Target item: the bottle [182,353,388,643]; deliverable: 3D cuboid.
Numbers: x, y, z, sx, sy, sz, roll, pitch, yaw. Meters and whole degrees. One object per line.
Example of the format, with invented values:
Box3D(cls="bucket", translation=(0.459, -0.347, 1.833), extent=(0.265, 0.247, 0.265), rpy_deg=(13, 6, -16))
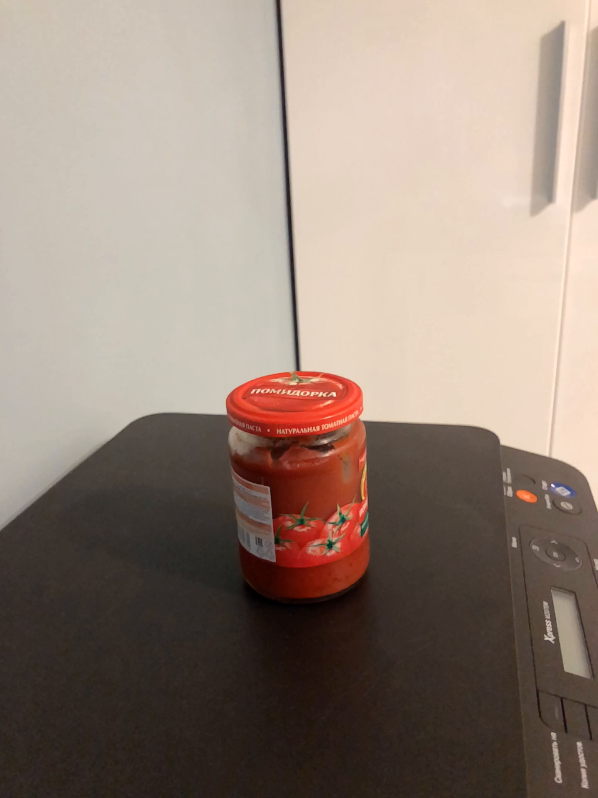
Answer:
Box3D(cls="bottle", translation=(-0.001, 0.044, 0.335), extent=(0.070, 0.109, 0.080), rpy_deg=(7, 22, 25))
